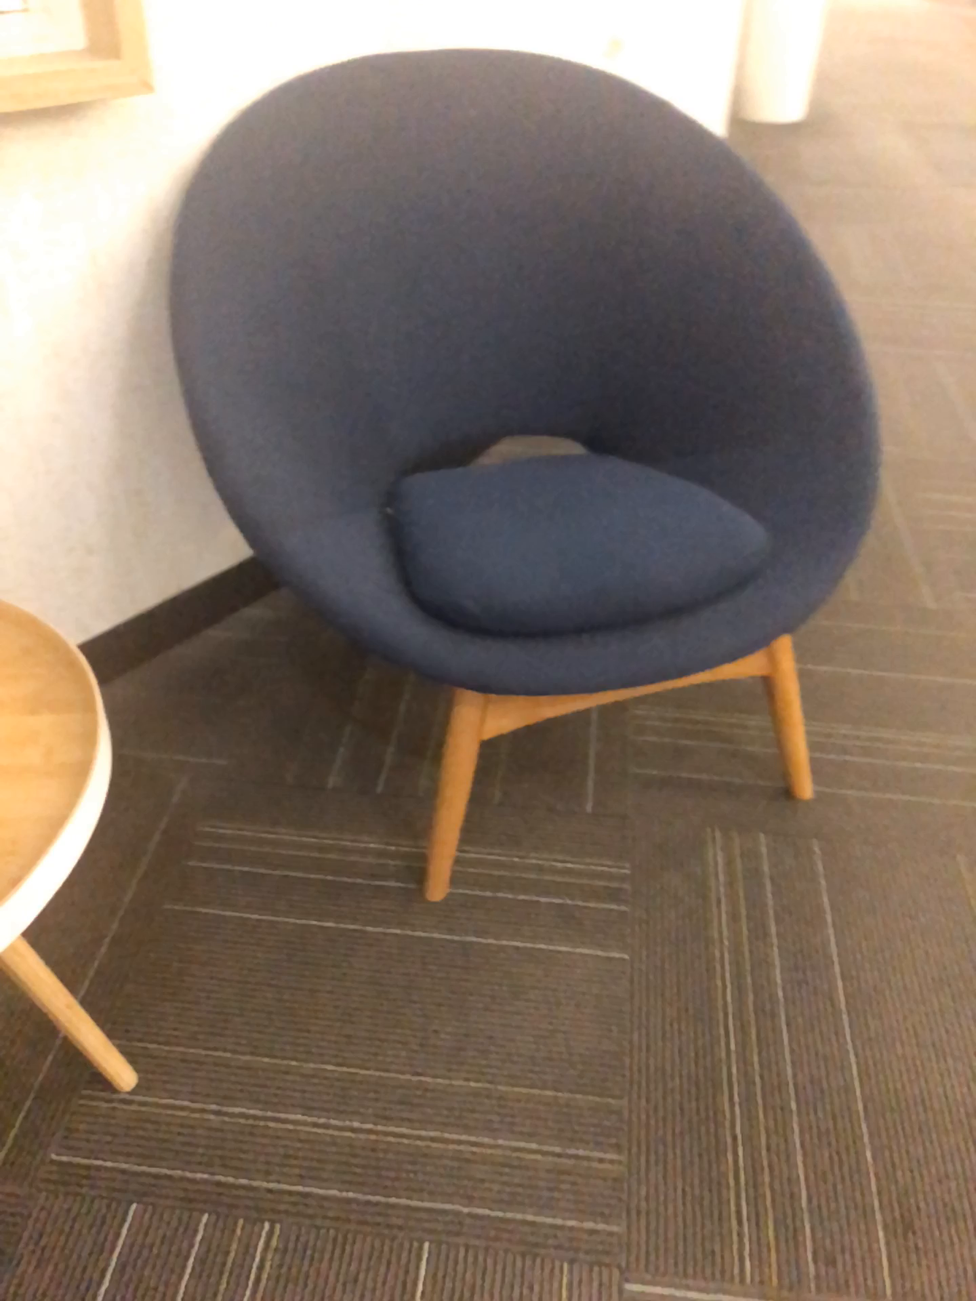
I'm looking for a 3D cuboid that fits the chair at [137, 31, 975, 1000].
[{"bbox_3d":[0.048,-0.315,1.573,0.892,0.993,1.006,-8,32,-12],"label":"chair"}]
